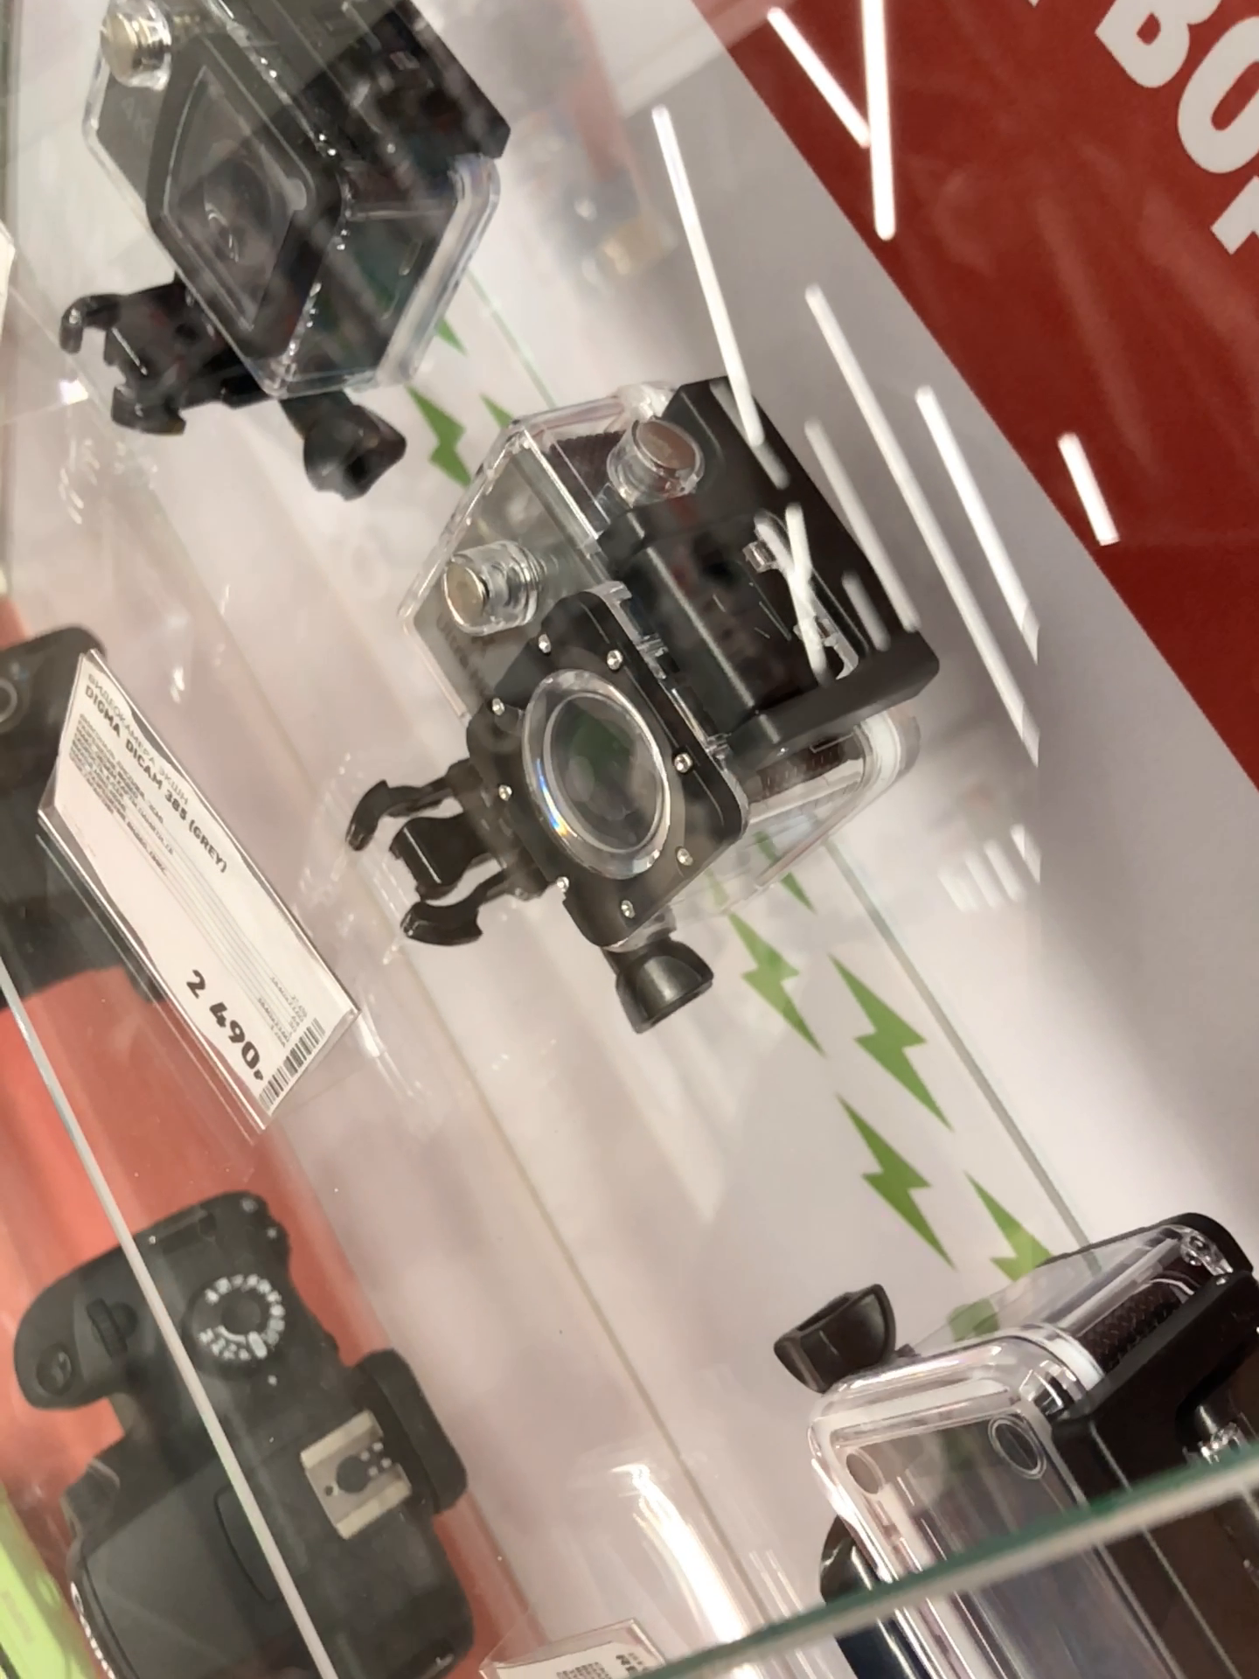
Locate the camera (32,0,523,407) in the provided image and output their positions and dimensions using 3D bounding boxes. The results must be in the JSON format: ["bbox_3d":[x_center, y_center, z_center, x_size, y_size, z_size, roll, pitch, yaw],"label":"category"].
[{"bbox_3d":[-0.060,-0.117,0.232,0.036,0.046,0.072,-26,76,-41],"label":"camera"}]

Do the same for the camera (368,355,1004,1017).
[{"bbox_3d":[0.005,-0.024,0.221,0.048,0.055,0.077,-23,75,-37],"label":"camera"}]
